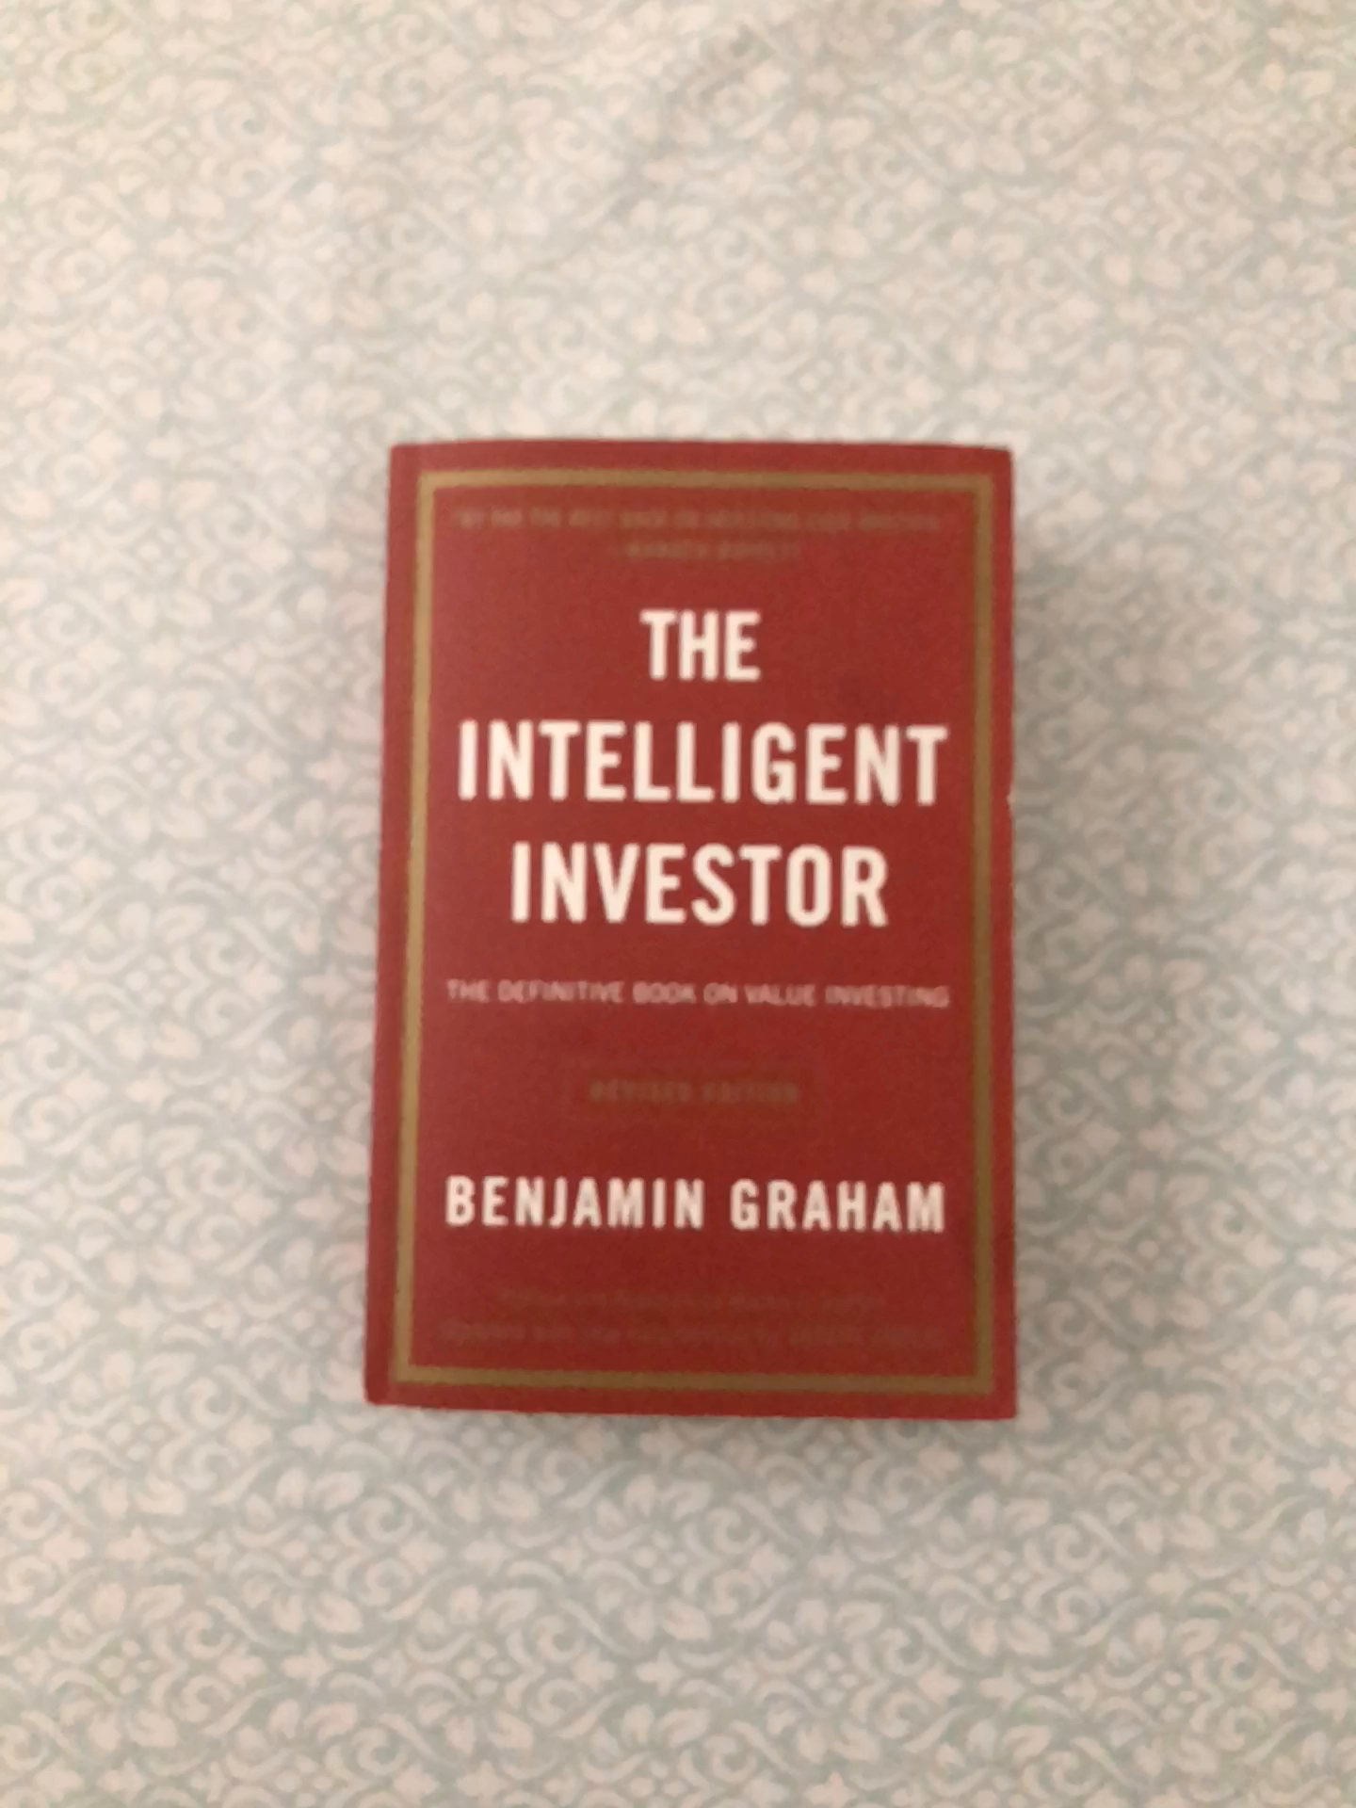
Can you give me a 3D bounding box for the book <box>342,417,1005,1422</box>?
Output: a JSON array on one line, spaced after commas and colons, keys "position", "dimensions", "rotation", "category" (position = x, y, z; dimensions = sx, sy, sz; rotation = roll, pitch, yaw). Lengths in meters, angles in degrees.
[{"position": [0.000, 0.002, 0.331], "dimensions": [0.130, 0.050, 0.200], "rotation": [1, 86, 1], "category": "book"}]
